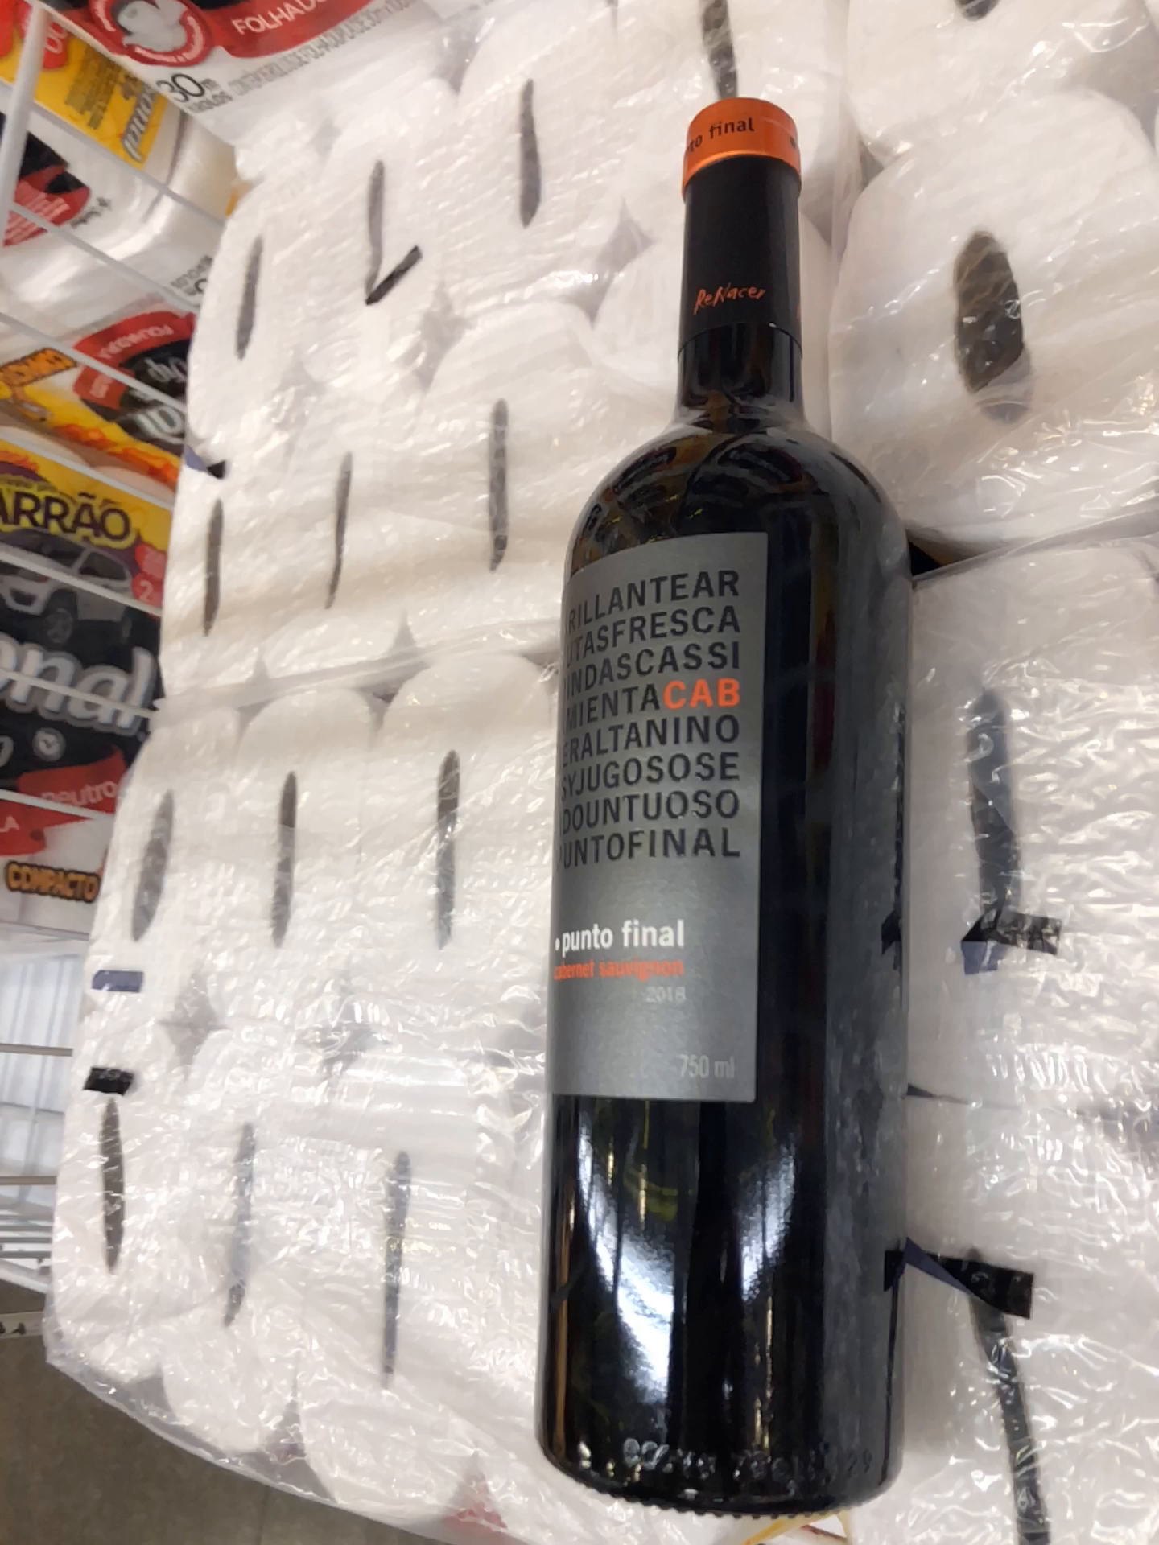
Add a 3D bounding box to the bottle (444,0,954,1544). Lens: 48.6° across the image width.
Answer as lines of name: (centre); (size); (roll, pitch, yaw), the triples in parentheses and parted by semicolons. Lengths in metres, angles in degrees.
bottle: (0.031, -0.020, 0.270); (0.070, 0.060, 0.310); (-8, 71, 38)
